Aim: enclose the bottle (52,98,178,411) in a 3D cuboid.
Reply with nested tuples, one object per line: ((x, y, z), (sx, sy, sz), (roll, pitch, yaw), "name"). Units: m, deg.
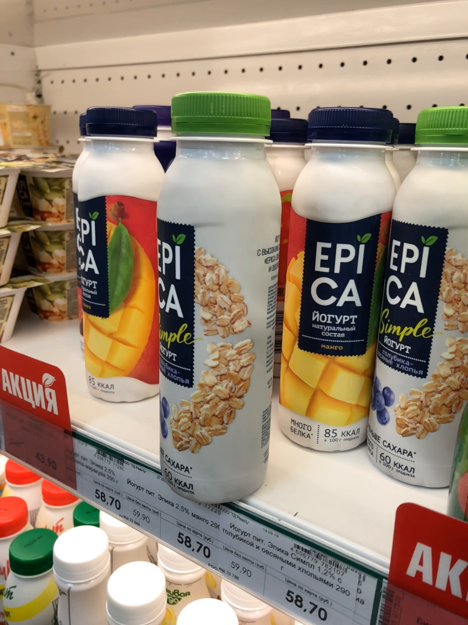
((-0.070, -0.034, 0.313), (0.049, 0.170, 0.053), (1, 18, 0), "bottle")

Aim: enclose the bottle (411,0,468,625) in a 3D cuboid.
((0.106, 0.010, 0.167), (0.052, 0.182, 0.053), (1, 18, 0), "bottle")

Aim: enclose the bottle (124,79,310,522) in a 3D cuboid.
((-0.009, -0.005, 0.227), (0.052, 0.170, 0.053), (1, 18, 0), "bottle")
